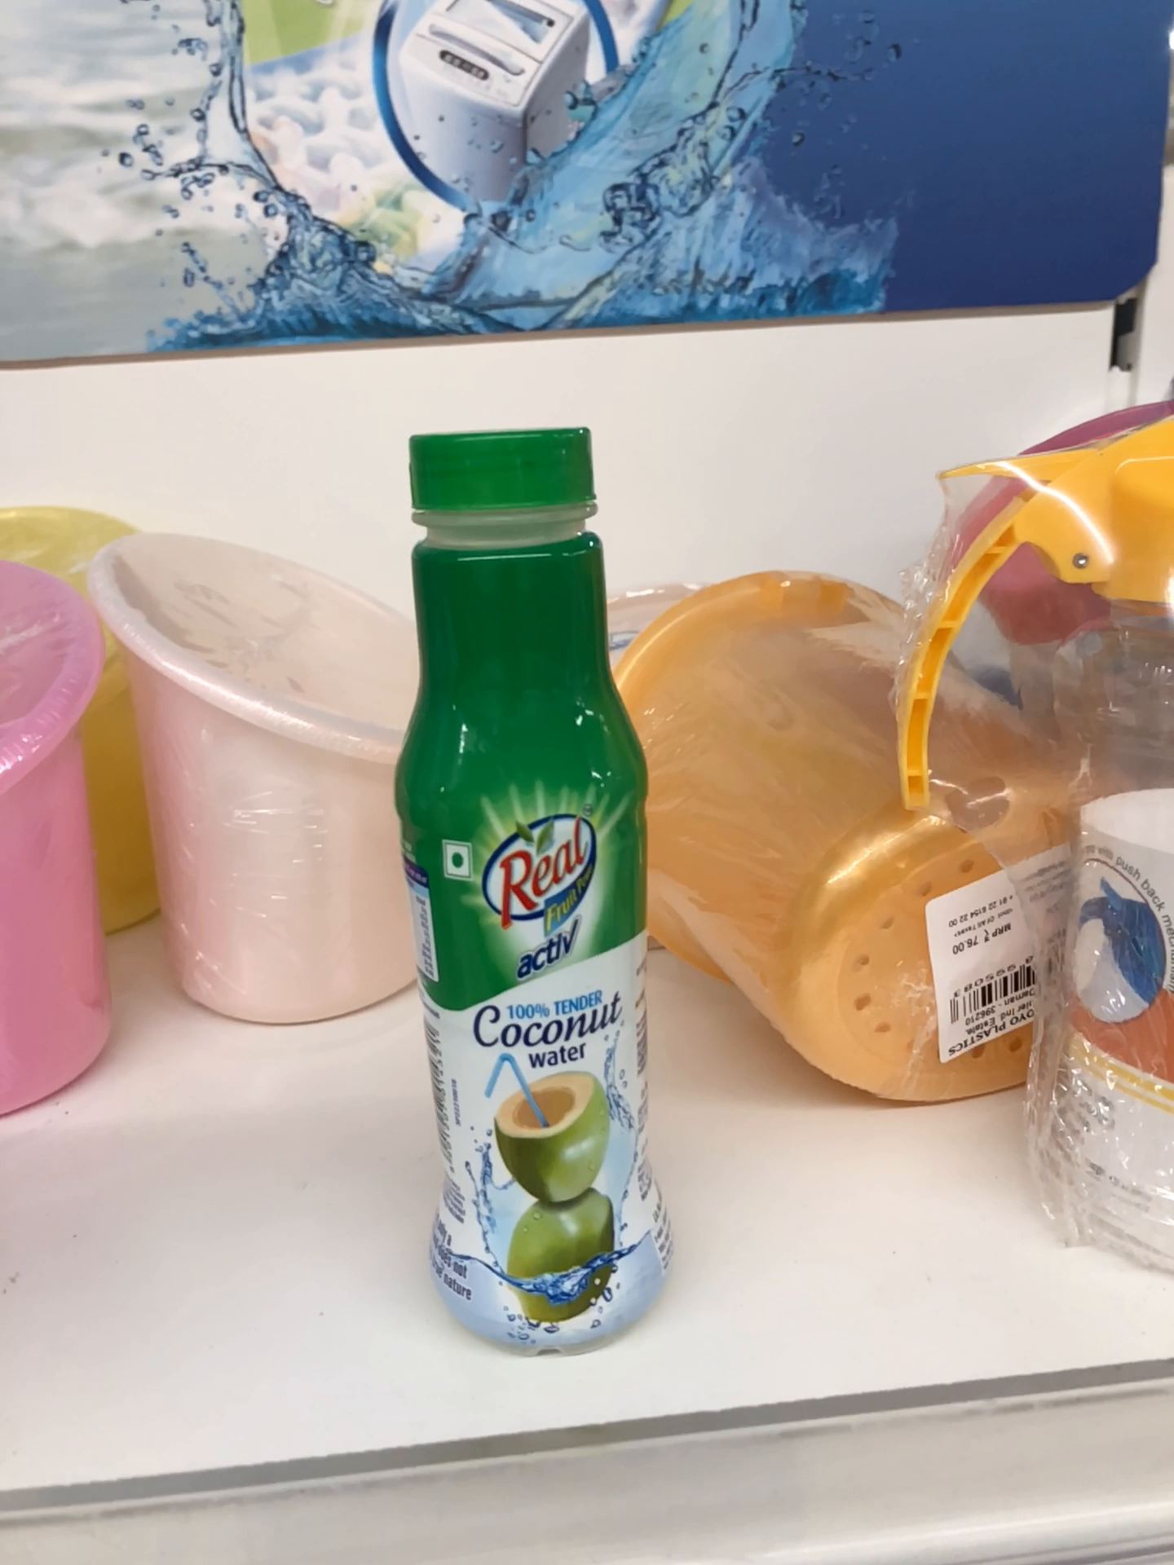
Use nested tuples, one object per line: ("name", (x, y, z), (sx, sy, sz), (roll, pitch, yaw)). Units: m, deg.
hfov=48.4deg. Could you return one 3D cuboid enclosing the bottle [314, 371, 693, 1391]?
("bottle", (-0.014, 0.017, 0.246), (0.050, 0.179, 0.050), (-2, 17, 1))
